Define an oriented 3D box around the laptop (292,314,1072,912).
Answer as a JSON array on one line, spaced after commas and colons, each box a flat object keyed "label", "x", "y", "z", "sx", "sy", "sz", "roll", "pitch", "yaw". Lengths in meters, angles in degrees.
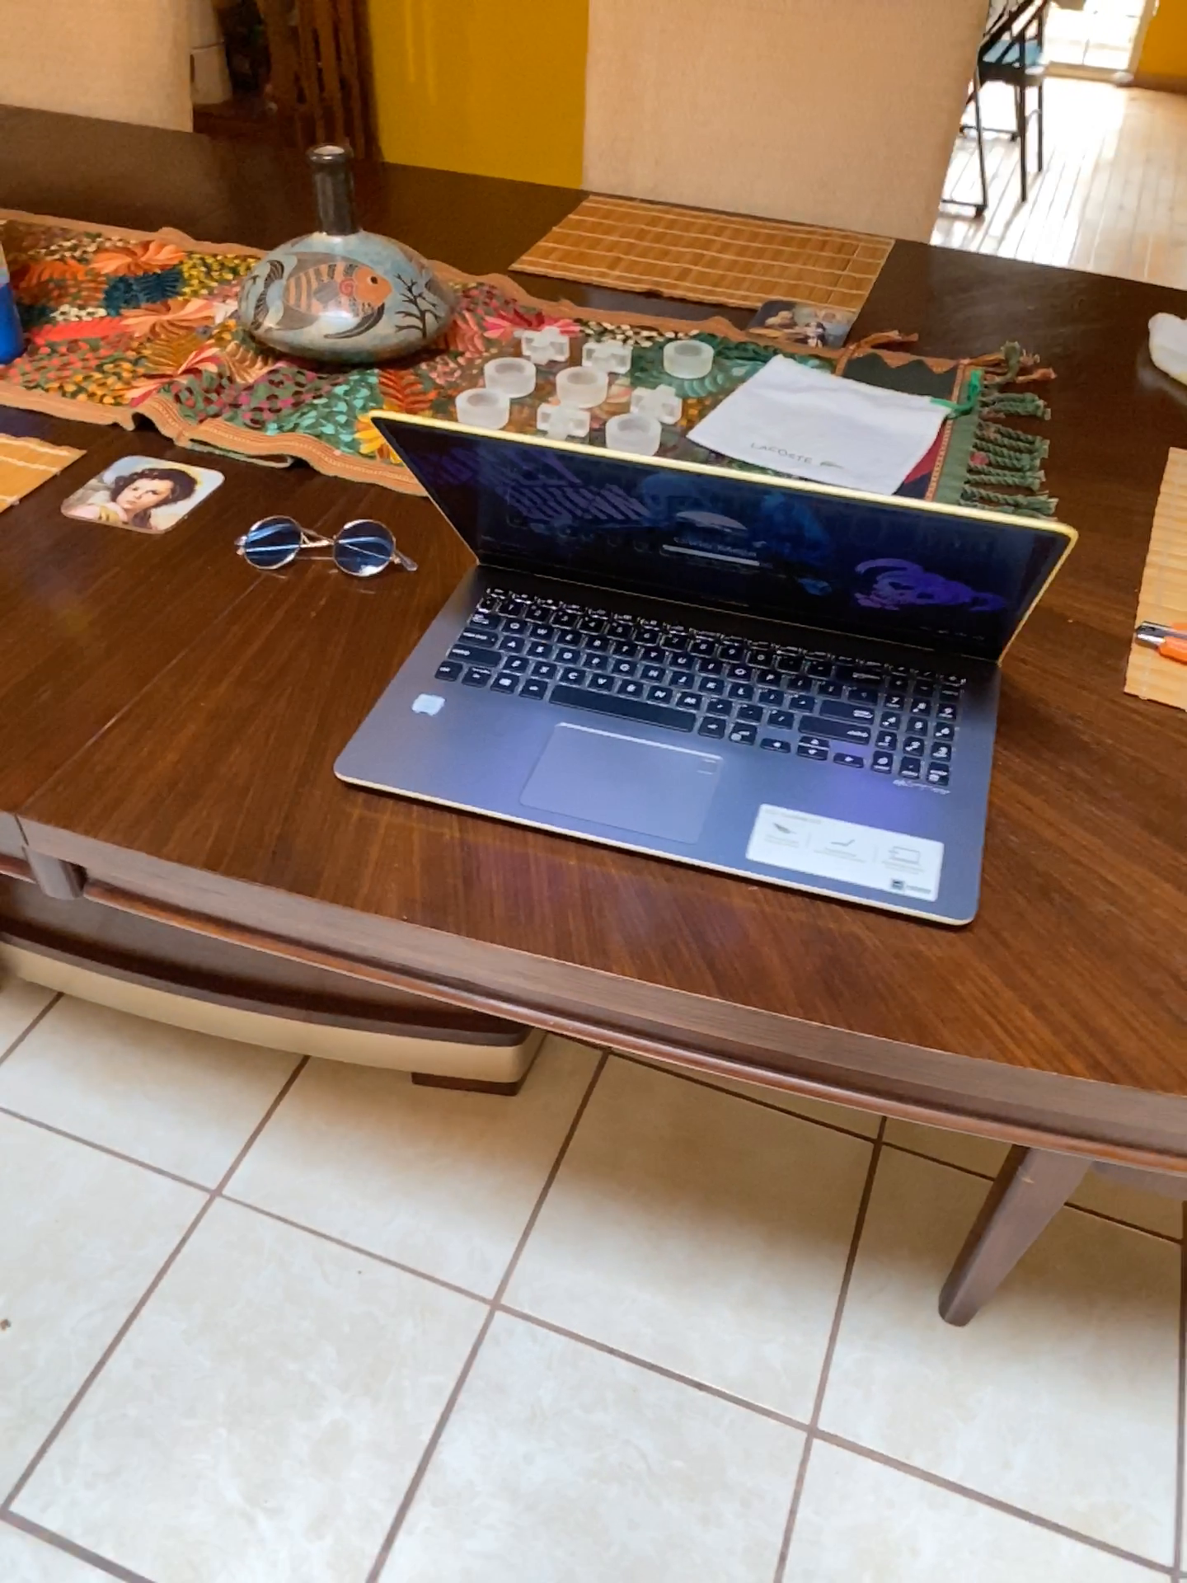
[{"label": "laptop", "x": 0.063, "y": -0.122, "z": 0.723, "sx": 0.376, "sy": 0.181, "sz": 0.251, "roll": 13, "pitch": 44, "yaw": 11}]
